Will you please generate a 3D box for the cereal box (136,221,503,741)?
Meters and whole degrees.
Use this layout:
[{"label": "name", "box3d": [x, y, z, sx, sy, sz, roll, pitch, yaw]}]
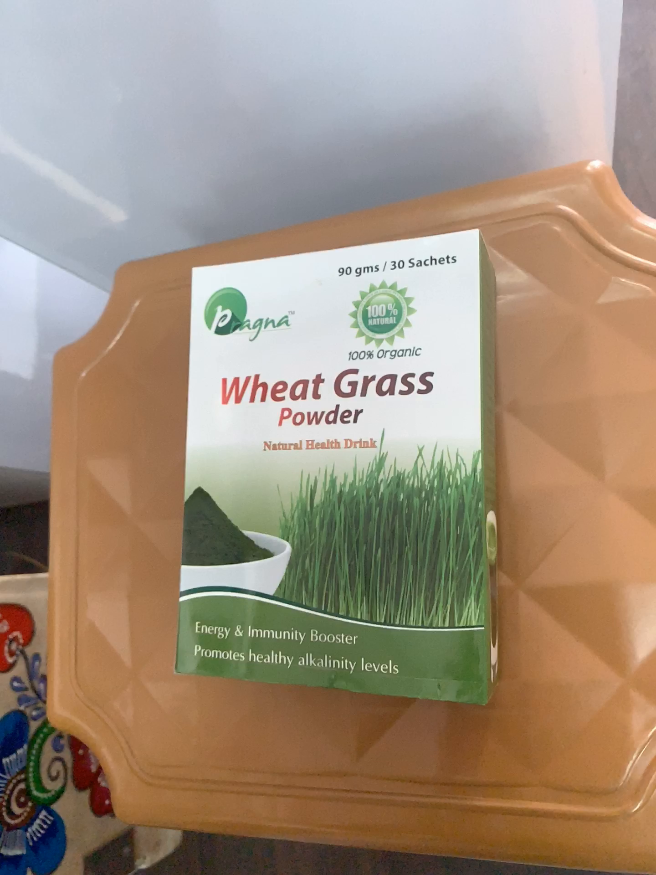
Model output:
[{"label": "cereal box", "box3d": [-0.002, 0.015, 0.269, 0.130, 0.050, 0.170, -2, 83, 21]}]
